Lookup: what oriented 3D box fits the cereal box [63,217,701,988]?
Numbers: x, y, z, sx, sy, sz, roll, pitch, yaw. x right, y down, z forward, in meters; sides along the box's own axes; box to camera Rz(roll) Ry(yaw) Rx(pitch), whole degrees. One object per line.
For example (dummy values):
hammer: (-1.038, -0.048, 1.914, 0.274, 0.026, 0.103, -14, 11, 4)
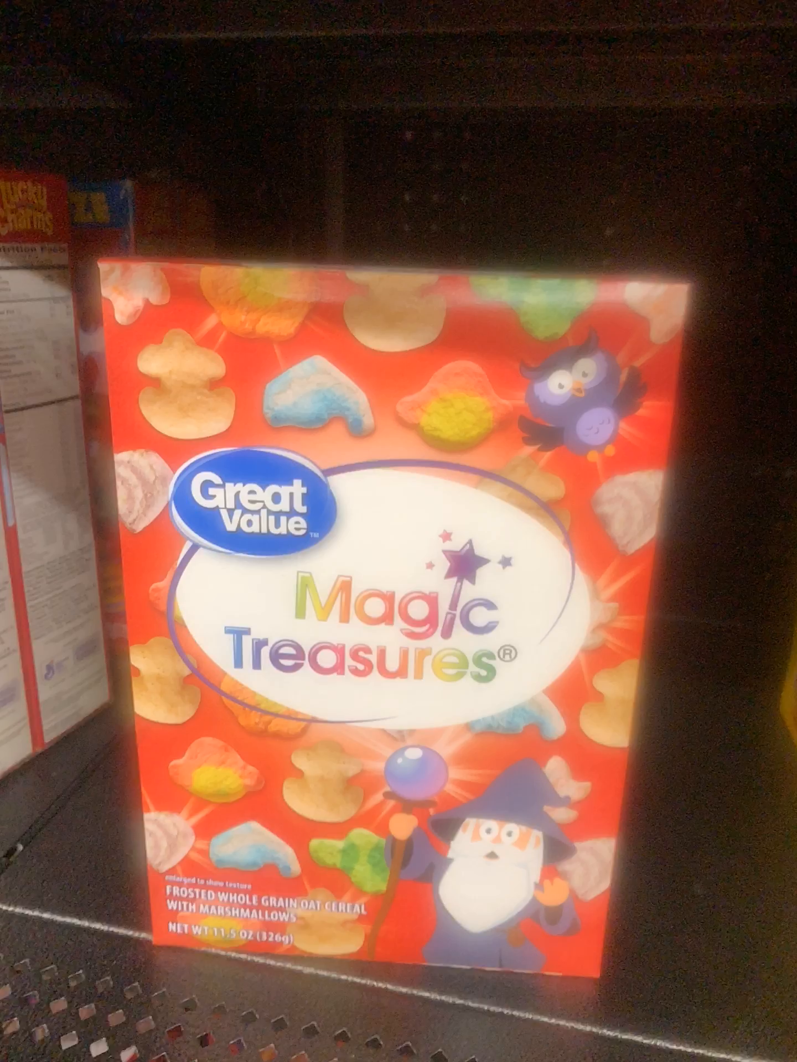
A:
cereal box: (-0.008, 0.030, 0.327, 0.200, 0.279, 0.070, 2, 15, 4)
